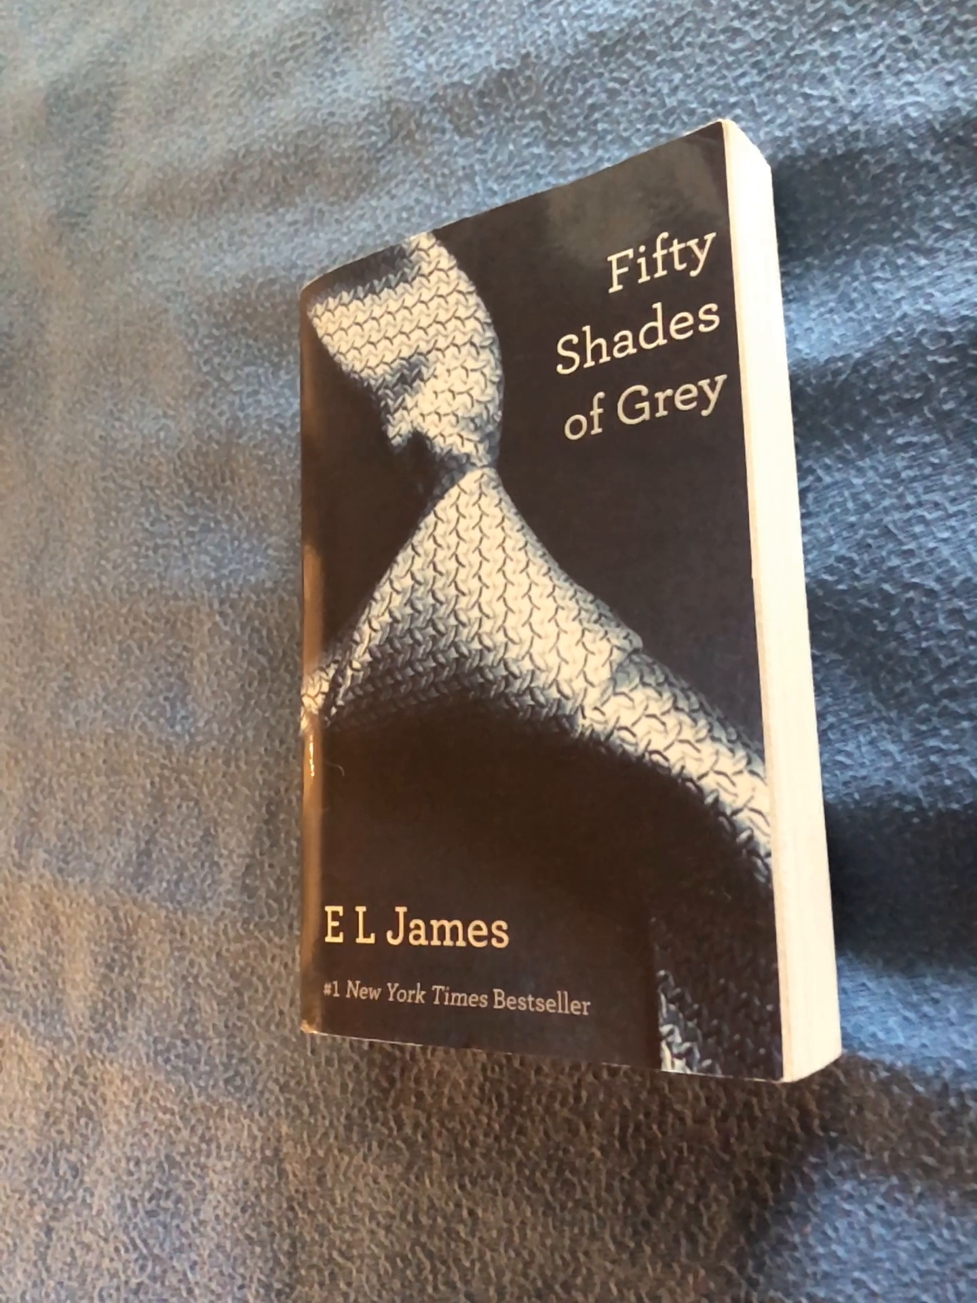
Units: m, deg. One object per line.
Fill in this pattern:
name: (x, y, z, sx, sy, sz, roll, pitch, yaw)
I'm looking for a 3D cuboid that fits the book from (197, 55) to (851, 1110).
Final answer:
book: (0.000, -0.012, 0.266, 0.151, 0.040, 0.210, -8, 76, 34)
